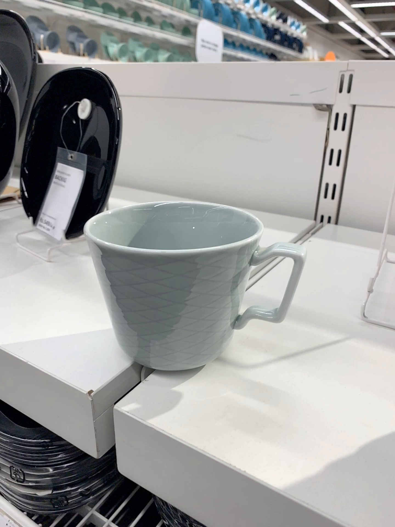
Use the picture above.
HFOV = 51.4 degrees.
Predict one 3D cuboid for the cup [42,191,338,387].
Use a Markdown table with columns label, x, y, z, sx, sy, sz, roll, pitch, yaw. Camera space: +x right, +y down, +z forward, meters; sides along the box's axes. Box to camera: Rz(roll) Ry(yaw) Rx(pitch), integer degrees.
| label | x | y | z | sx | sy | sz | roll | pitch | yaw |
| --- | --- | --- | --- | --- | --- | --- | --- | --- | --- |
| cup | -0.003 | 0.006 | 0.239 | 0.130 | 0.070 | 0.100 | 3 | 21 | 2 |
